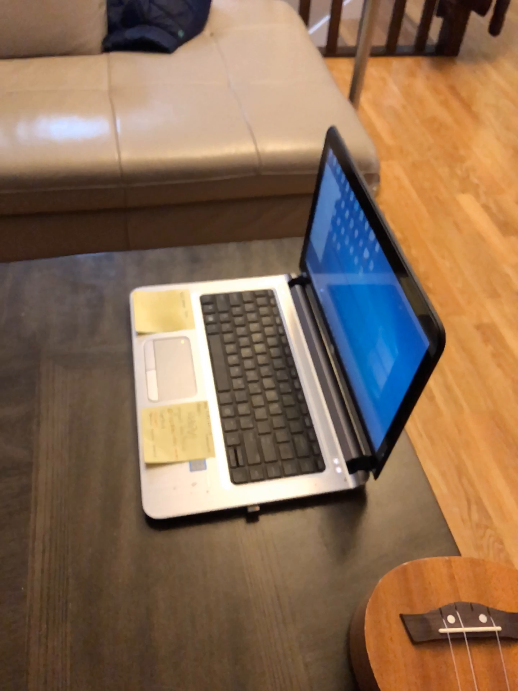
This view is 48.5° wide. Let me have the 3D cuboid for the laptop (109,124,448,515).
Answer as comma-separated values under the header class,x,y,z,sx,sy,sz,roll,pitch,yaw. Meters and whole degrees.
class,x,y,z,sx,sy,sz,roll,pitch,yaw
laptop,-0.012,-0.040,0.606,0.246,0.217,0.319,-7,50,-9
